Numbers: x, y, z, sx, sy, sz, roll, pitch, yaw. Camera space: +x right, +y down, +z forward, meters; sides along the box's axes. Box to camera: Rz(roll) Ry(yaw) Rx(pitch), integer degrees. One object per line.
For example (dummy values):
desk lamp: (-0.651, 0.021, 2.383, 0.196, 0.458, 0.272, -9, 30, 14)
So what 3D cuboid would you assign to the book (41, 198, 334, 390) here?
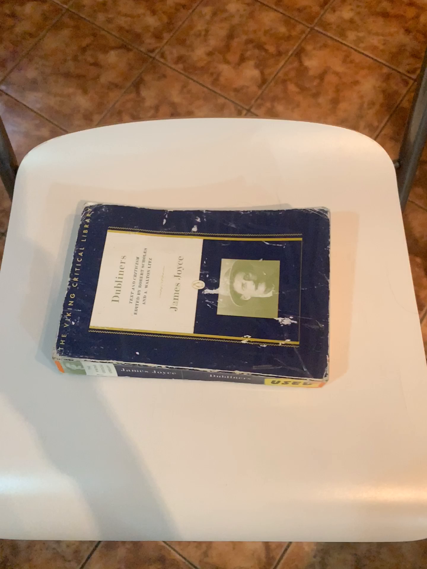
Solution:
book: (-0.015, 0.006, 0.329, 0.197, 0.035, 0.132, 2, 74, 3)
